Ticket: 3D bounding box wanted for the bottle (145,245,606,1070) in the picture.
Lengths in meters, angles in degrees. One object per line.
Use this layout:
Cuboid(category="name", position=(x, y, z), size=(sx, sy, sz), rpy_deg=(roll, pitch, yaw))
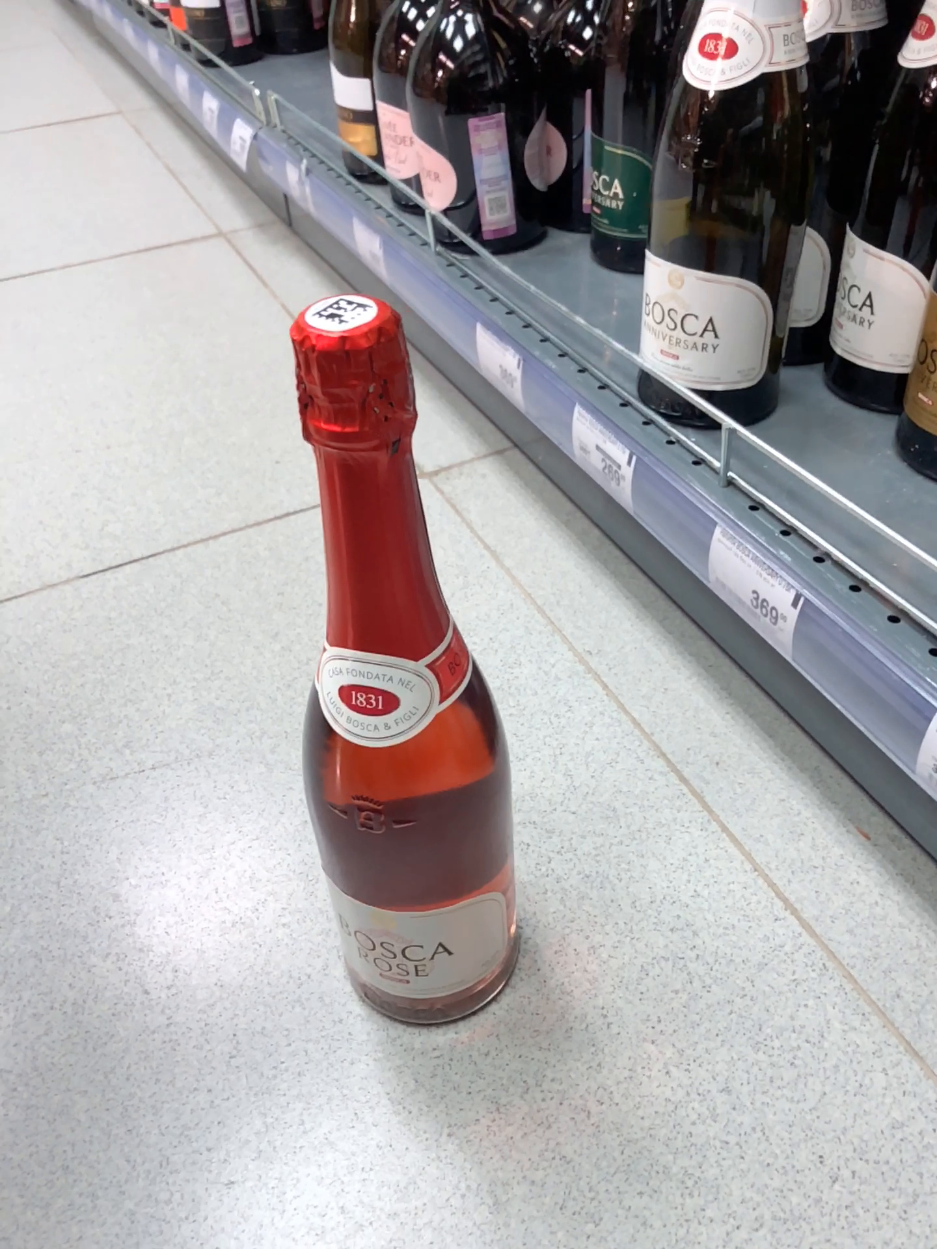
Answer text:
Cuboid(category="bottle", position=(-0.014, 0.033, 0.403), size=(0.100, 0.317, 0.100), rpy_deg=(-3, 40, 2))
